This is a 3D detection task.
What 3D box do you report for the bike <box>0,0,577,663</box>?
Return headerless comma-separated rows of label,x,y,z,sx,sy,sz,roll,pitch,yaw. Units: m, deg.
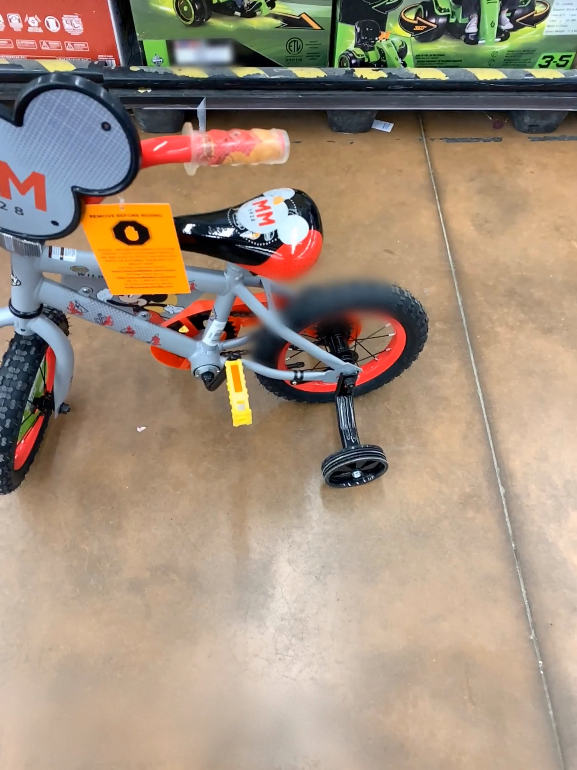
bike,-0.105,-0.082,0.746,0.678,0.742,0.450,-19,57,-11
